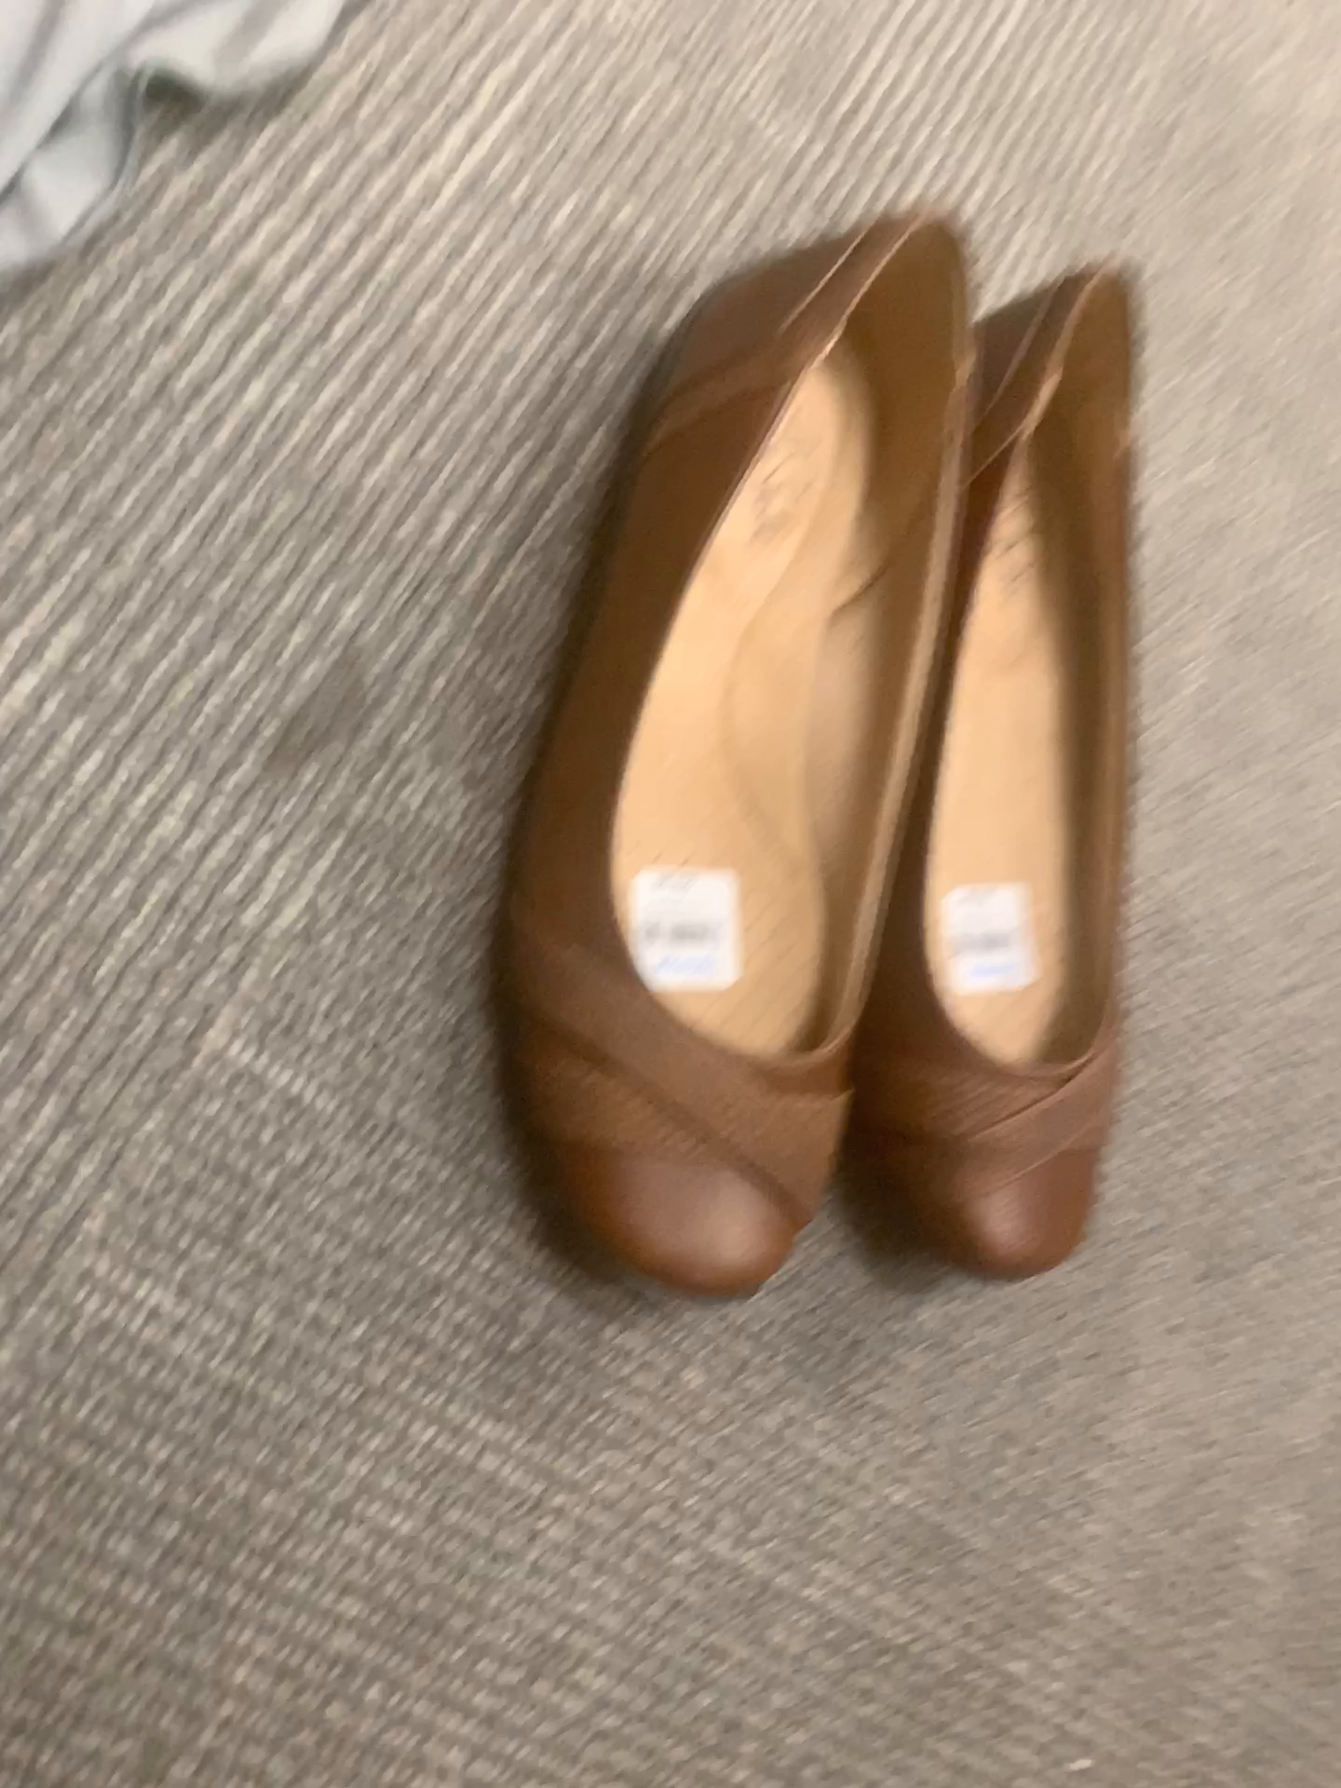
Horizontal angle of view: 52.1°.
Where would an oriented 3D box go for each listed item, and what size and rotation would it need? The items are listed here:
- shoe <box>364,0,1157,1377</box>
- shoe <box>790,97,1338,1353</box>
[{"bbox_3d":[0.024,-0.046,0.306,0.100,0.084,0.269,18,76,-26],"label":"shoe"},{"bbox_3d":[0.095,-0.036,0.351,0.099,0.084,0.271,4,83,-29],"label":"shoe"}]
